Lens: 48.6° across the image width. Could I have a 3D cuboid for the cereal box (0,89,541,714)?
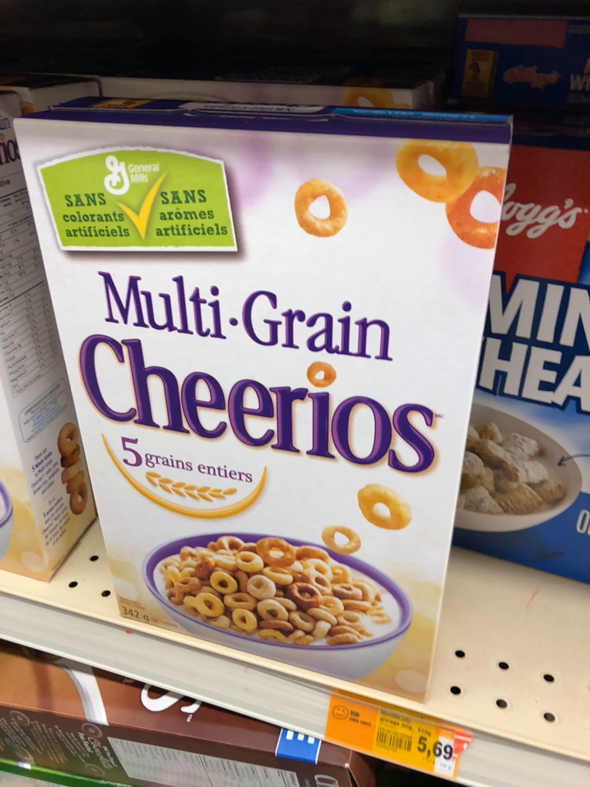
[{"bbox_3d":[-0.014,0.013,0.315,0.200,0.278,0.060,10,33,16],"label":"cereal box"}]
